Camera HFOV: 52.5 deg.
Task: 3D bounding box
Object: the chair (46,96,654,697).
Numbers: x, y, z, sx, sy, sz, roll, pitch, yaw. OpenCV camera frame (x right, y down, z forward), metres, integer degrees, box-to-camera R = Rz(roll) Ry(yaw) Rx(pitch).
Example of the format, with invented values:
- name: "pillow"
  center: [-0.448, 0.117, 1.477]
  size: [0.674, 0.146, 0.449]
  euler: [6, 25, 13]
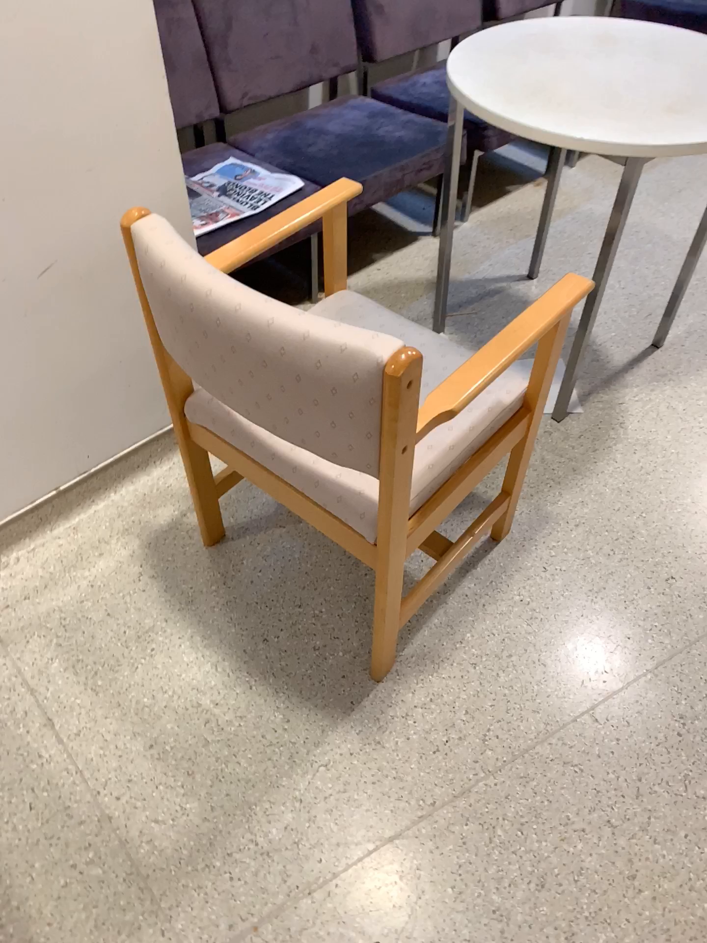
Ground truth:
- name: "chair"
  center: [0.005, -0.164, 1.282]
  size: [0.633, 0.634, 0.633]
  euler: [32, 55, 26]
